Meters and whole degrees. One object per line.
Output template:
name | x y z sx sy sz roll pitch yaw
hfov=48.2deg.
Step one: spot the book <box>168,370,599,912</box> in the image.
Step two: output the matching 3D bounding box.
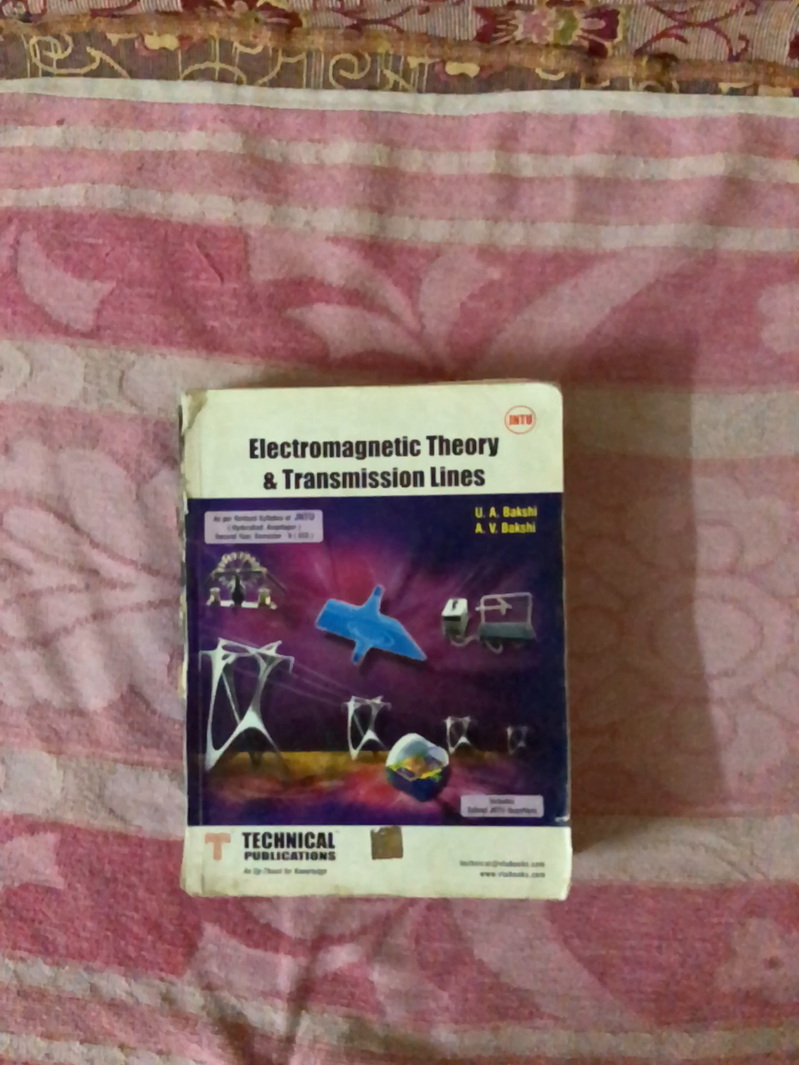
book | -0.009 0.052 0.449 0.200 0.060 0.250 -1 87 4
